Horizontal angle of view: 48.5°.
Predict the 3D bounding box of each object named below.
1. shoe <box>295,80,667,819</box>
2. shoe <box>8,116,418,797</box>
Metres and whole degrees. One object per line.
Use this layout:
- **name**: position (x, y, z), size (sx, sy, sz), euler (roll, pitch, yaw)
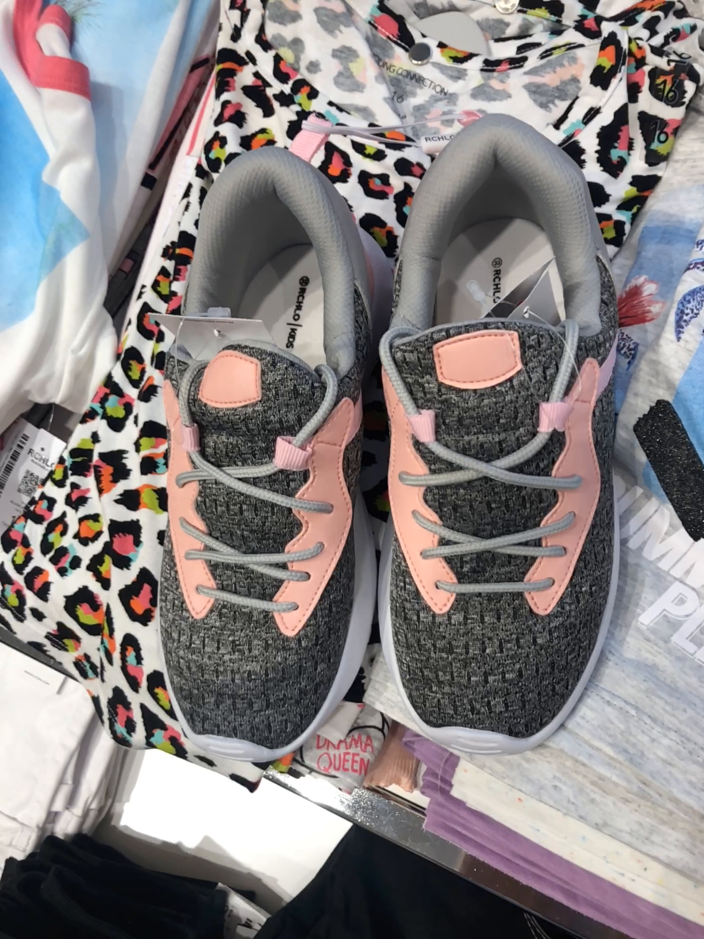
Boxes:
- **shoe**: position (0.050, -0.006, 0.278), size (0.100, 0.100, 0.210), euler (0, 80, 15)
- **shoe**: position (-0.041, -0.006, 0.308), size (0.100, 0.100, 0.220), euler (3, 80, 16)
